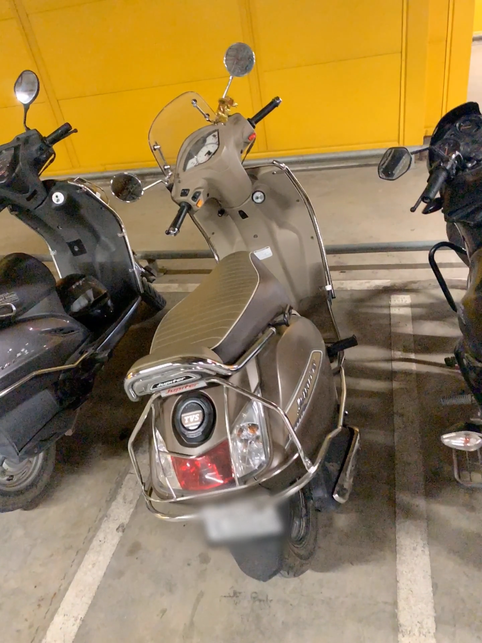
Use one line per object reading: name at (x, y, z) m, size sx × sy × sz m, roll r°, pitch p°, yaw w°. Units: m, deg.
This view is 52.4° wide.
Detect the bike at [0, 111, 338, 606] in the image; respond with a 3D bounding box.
bike at (-0.083, -0.041, 1.735) m, size 0.603 × 1.027 × 1.562 m, roll -6°, pitch 32°, yaw 7°
